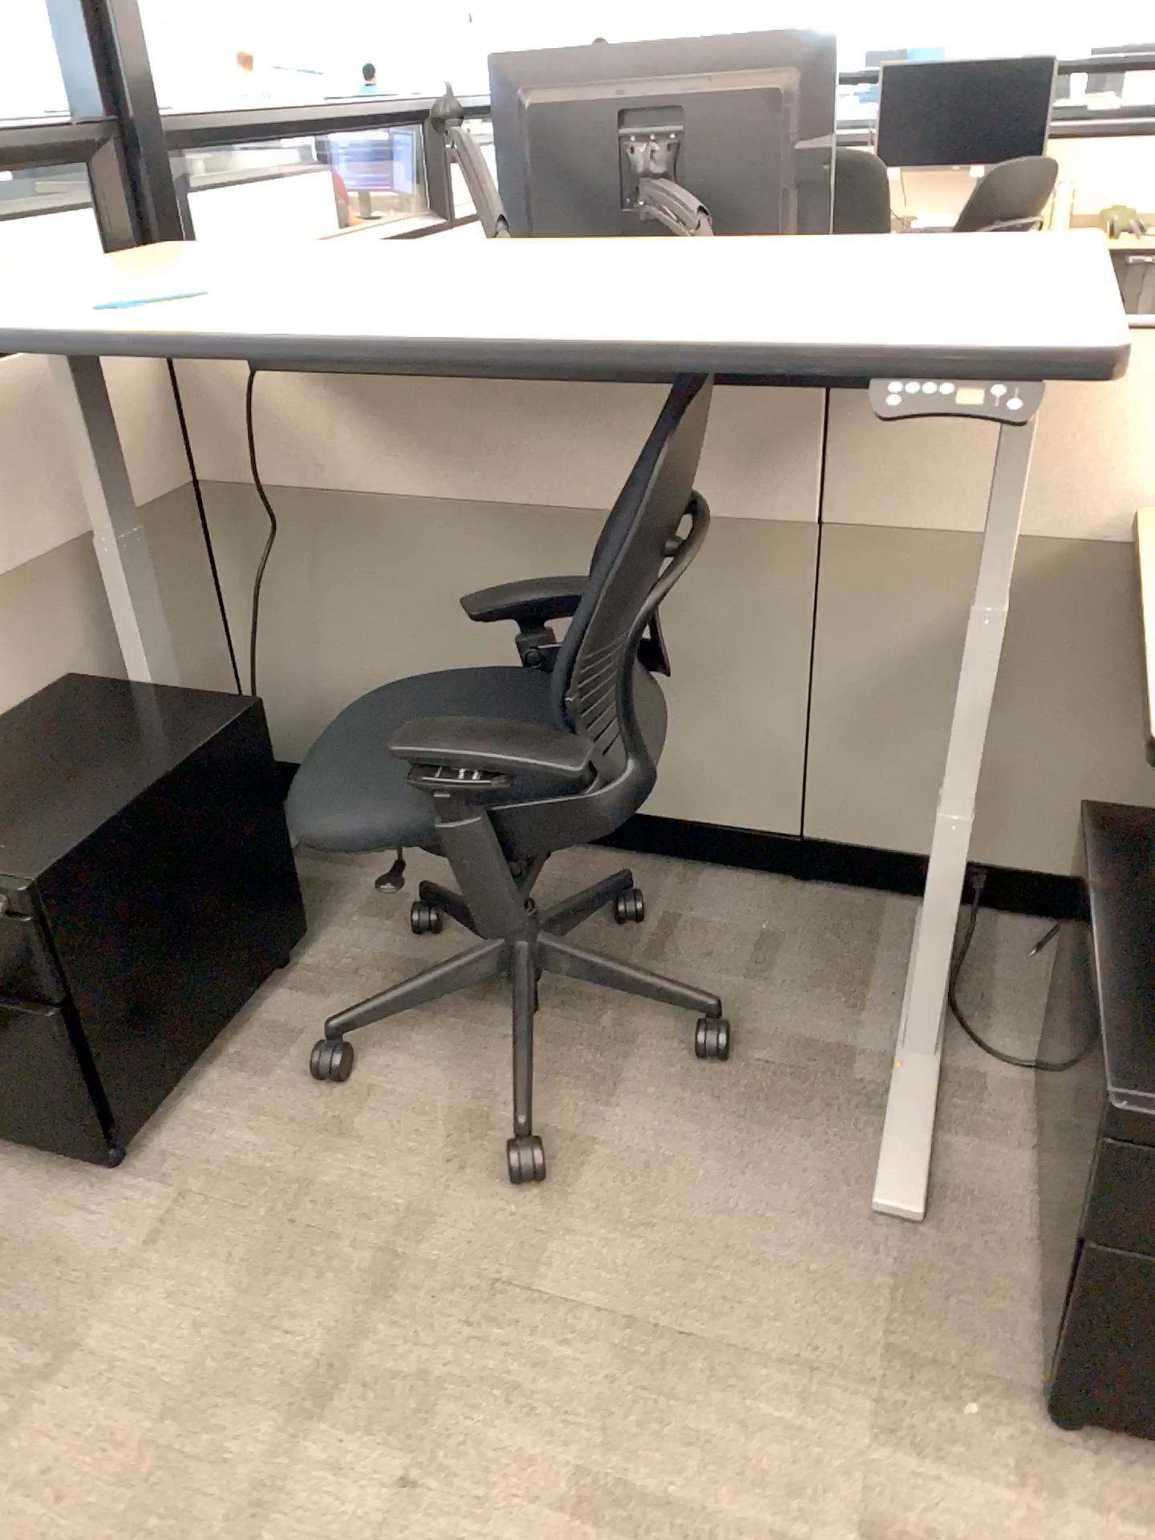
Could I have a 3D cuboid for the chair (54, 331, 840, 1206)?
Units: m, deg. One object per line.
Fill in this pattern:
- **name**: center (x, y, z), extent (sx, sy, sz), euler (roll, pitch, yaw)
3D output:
- **chair**: center (-0.089, -0.054, 1.688), extent (0.760, 0.954, 0.784), euler (3, 30, 6)
